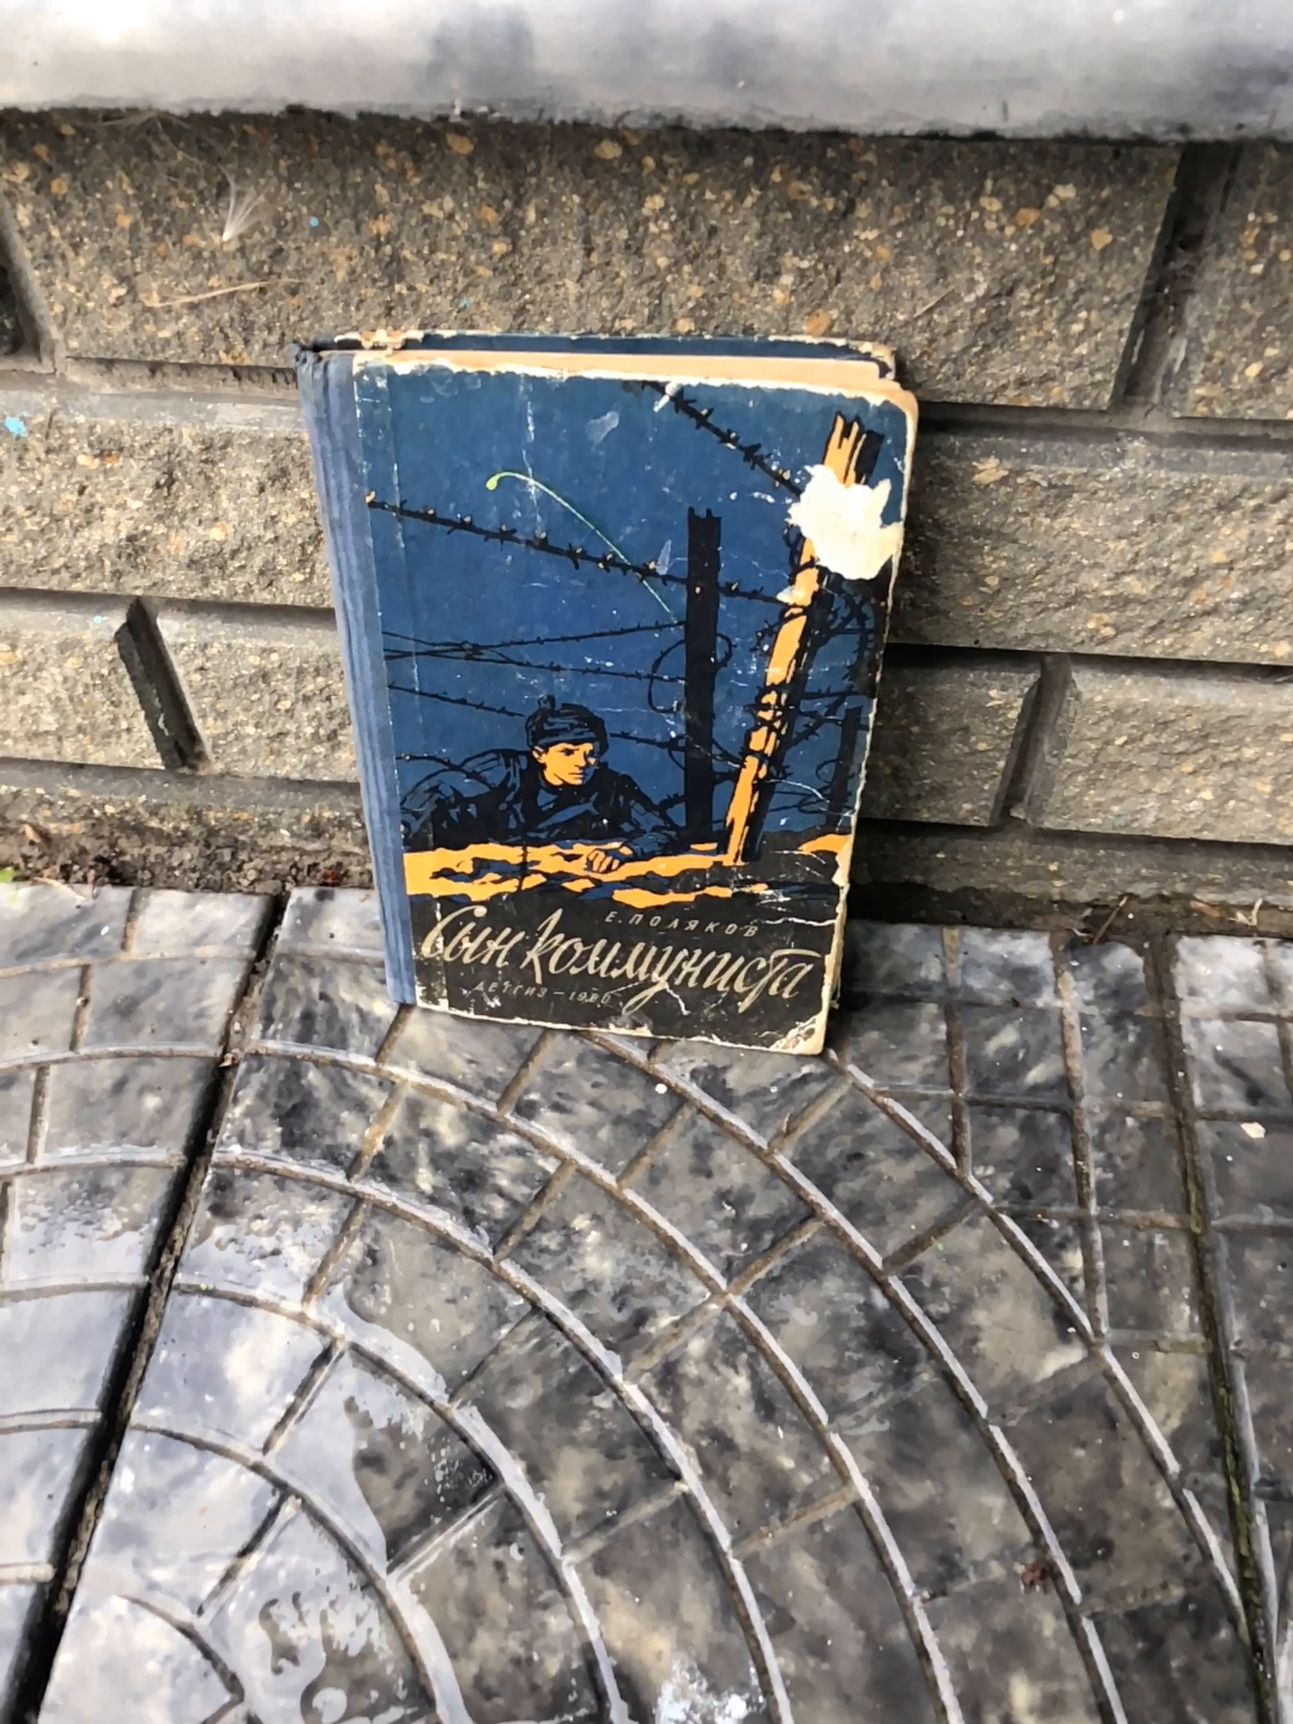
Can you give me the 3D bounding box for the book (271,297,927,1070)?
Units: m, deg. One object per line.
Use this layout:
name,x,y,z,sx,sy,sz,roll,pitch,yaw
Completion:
book,-0.011,-0.037,0.378,0.140,0.199,0.040,6,39,5
